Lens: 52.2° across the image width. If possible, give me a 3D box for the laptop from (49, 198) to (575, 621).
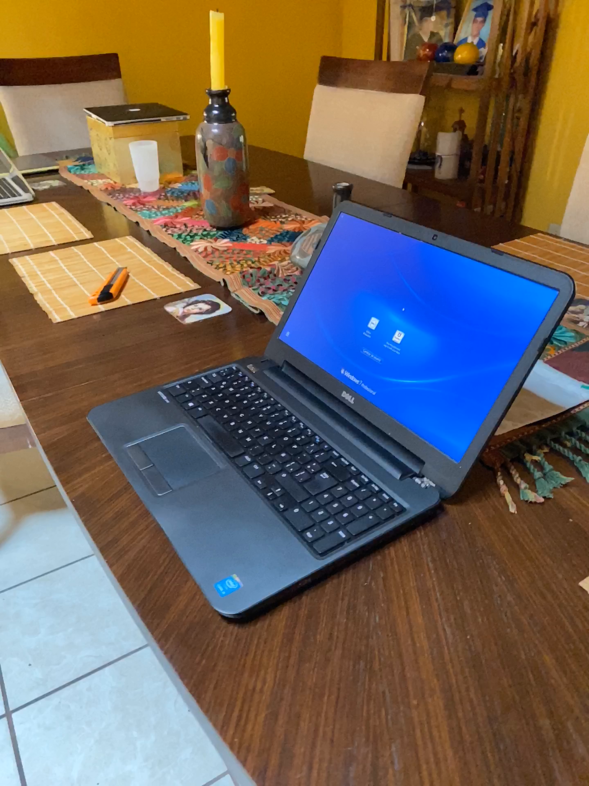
[{"bbox_3d":[0.003,-0.042,0.662,0.396,0.194,0.369,-21,37,-28],"label":"laptop"}]
